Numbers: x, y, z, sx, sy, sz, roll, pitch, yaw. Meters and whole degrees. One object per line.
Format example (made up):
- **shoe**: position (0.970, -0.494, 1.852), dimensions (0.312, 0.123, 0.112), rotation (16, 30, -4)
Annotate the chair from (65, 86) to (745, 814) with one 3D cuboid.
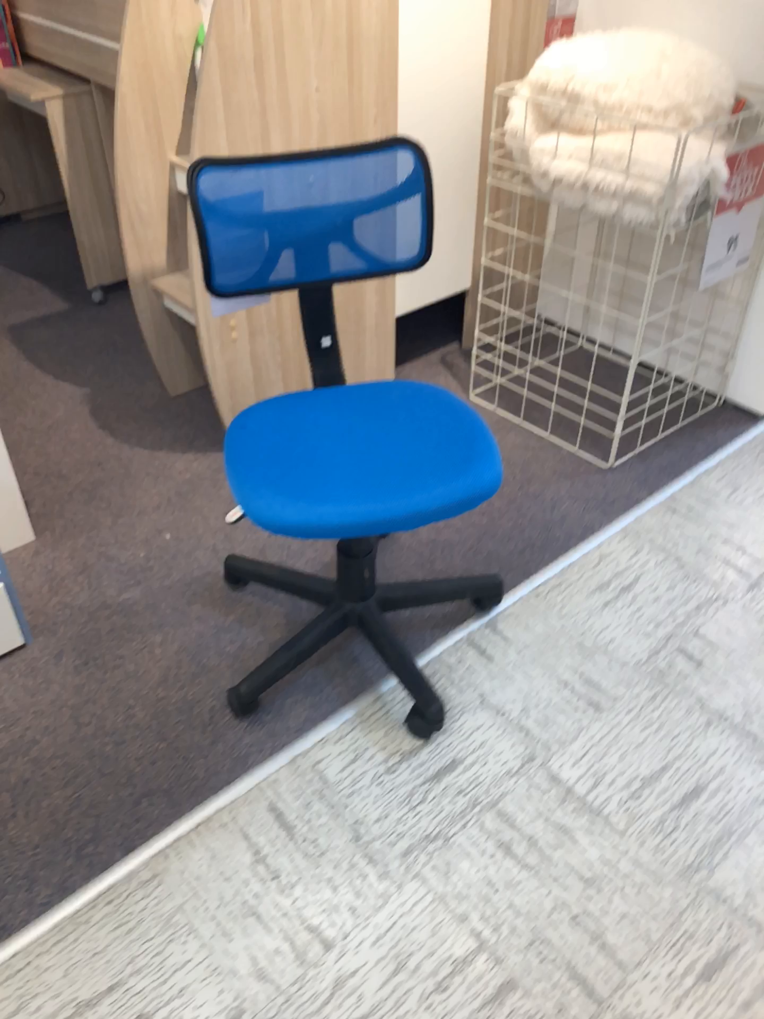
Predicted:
- **chair**: position (-0.019, -0.127, 1.293), dimensions (0.662, 0.795, 0.612), rotation (-15, 40, -18)
